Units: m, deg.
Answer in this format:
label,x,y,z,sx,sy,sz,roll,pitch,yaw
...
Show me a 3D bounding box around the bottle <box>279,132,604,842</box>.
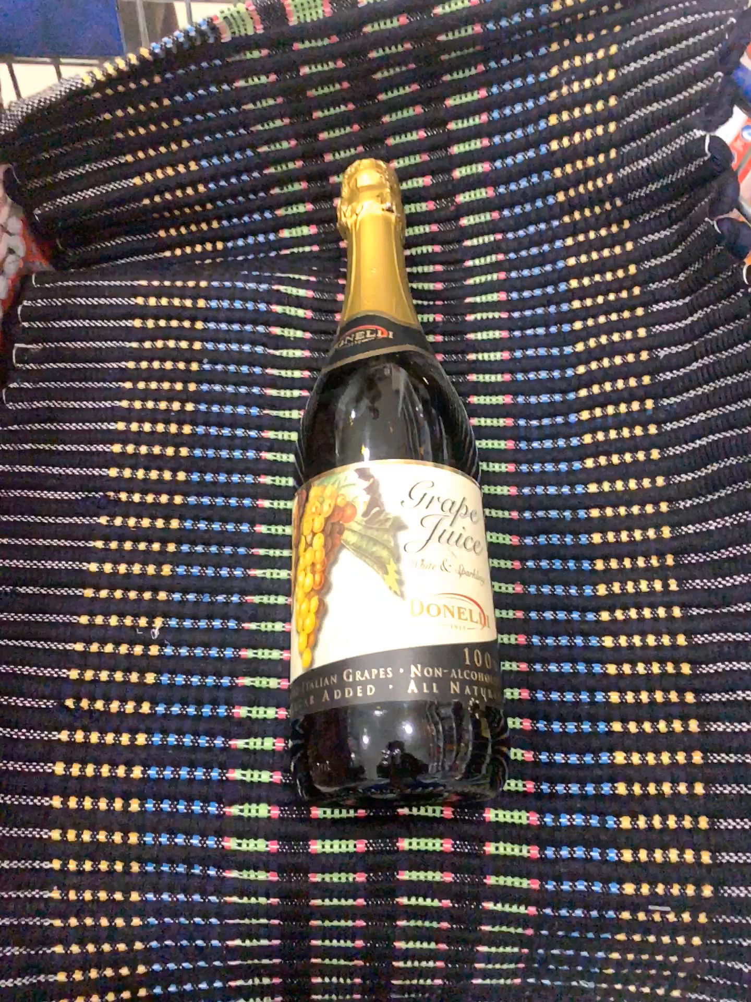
label,x,y,z,sx,sy,sz,roll,pitch,yaw
bottle,0.009,-0.027,0.325,0.090,0.080,0.301,0,58,-5
